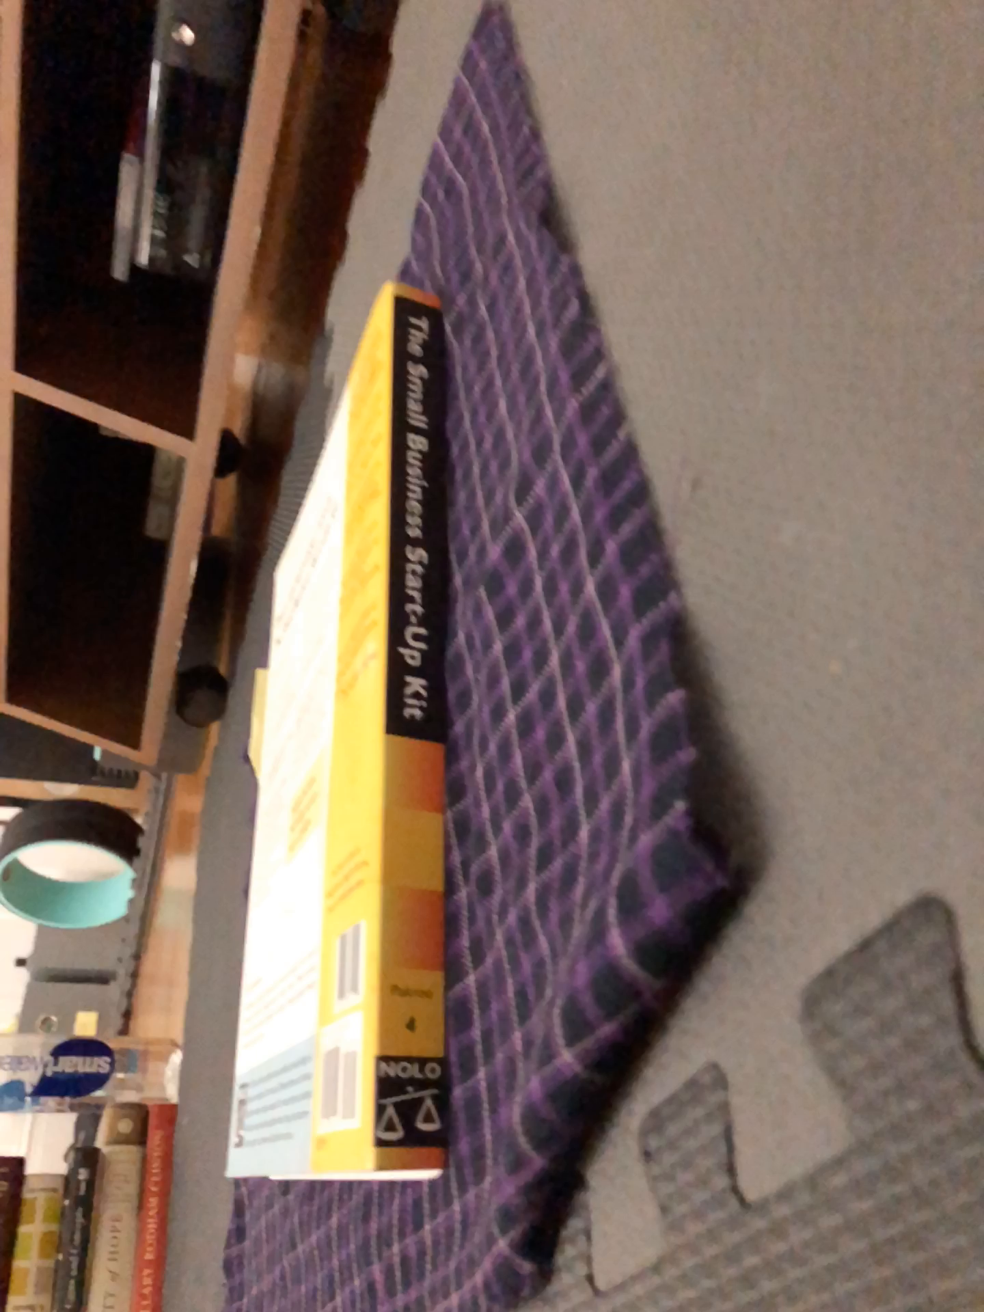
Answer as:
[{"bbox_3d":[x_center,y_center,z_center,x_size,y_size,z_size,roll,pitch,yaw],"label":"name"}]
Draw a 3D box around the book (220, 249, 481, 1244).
[{"bbox_3d":[-0.058,0.044,0.420,0.230,0.030,0.311,131,143,-58],"label":"book"}]
